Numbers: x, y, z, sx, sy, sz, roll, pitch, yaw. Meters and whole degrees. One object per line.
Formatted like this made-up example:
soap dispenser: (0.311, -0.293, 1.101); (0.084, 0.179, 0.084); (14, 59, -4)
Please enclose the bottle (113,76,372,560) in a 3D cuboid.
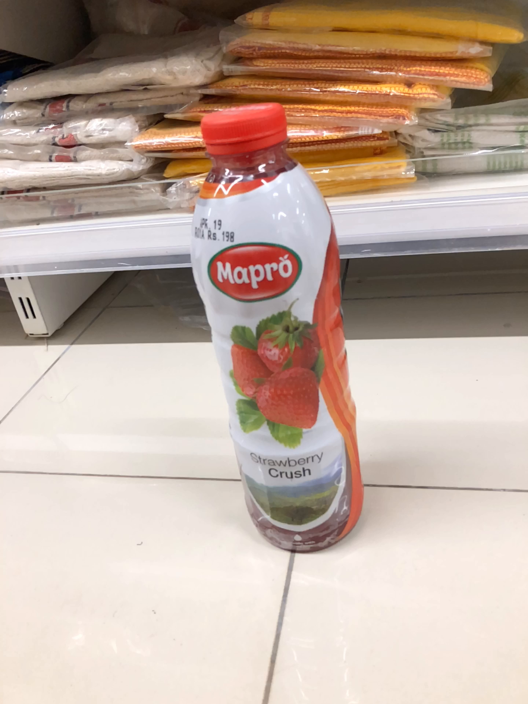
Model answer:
bottle: (0.007, -0.005, 0.320); (0.090, 0.248, 0.081); (-2, 31, 13)
